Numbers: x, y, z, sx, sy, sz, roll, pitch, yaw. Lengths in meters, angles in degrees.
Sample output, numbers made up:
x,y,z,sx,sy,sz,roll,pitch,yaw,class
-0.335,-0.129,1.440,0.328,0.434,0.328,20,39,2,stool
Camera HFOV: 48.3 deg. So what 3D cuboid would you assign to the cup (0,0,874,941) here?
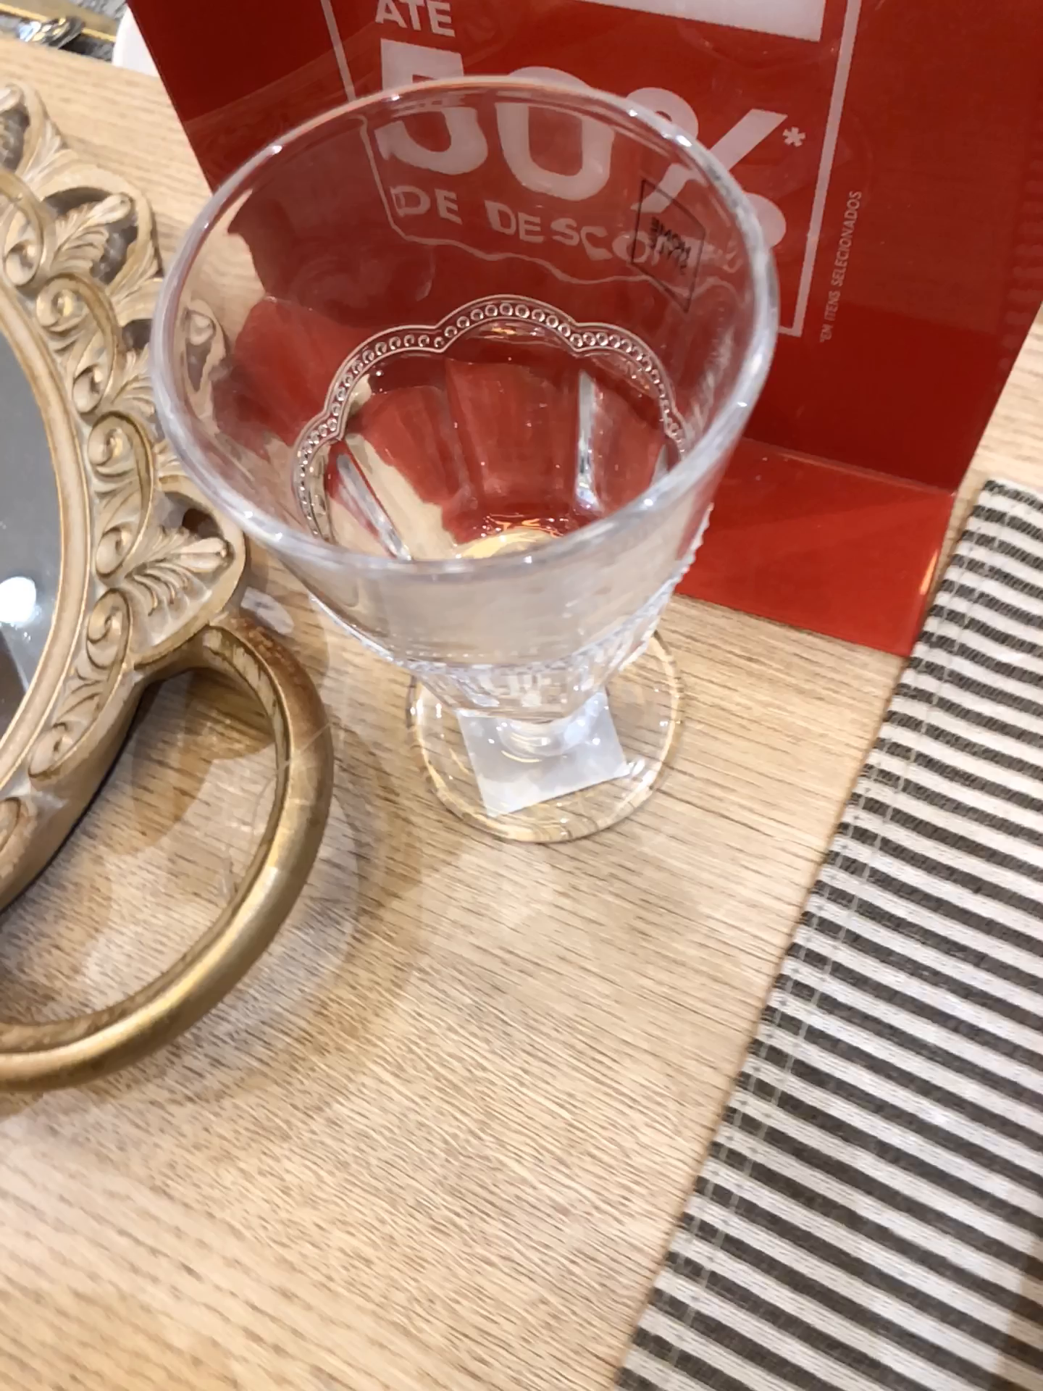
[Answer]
x,y,z,sx,sy,sz,roll,pitch,yaw,class
-0.003,-0.024,0.207,0.080,0.140,0.080,-2,67,6,cup
